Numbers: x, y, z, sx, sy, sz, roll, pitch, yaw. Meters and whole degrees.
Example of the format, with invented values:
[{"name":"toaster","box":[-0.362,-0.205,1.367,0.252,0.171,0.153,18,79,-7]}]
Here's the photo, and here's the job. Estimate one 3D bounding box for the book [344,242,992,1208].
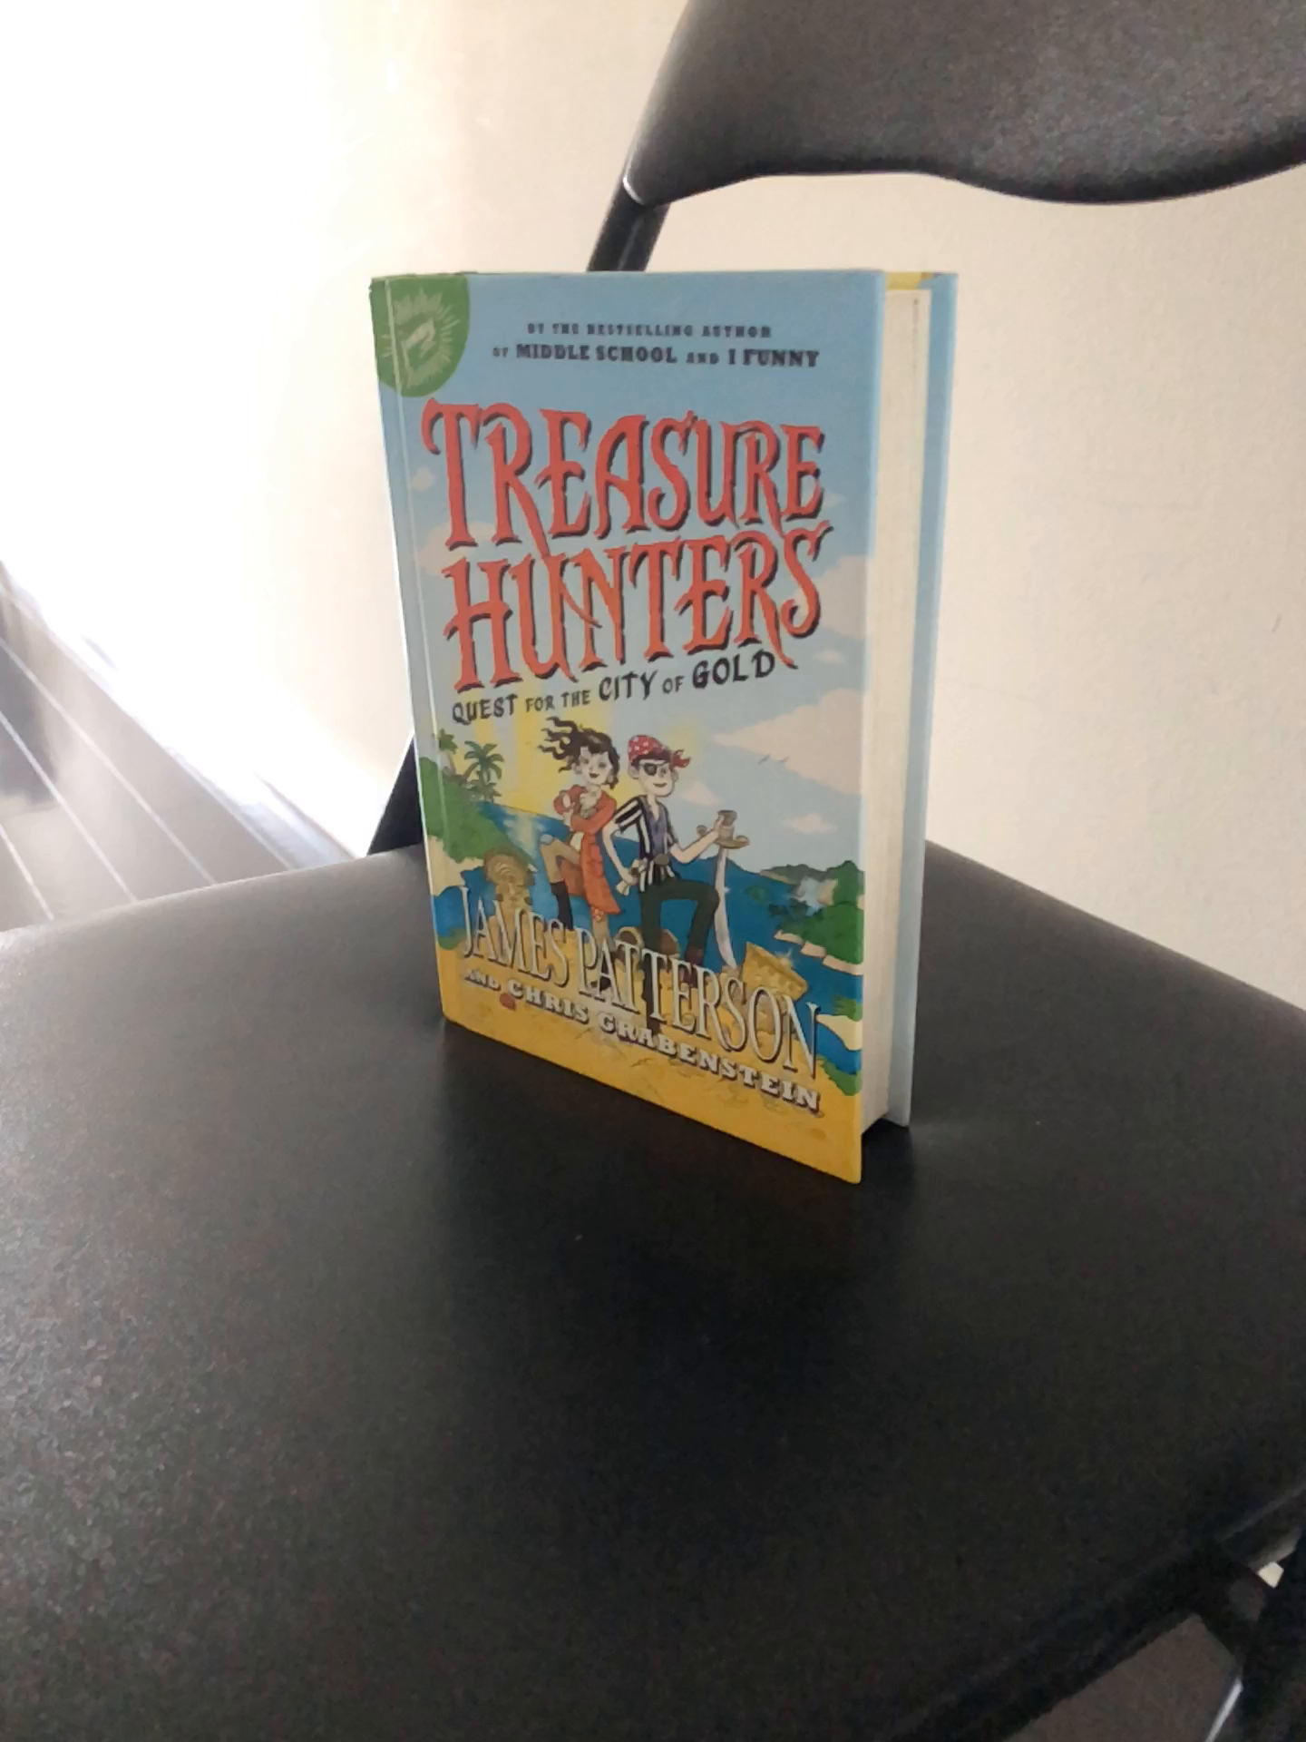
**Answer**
[{"name":"book","box":[0.005,-0.039,0.369,0.155,0.215,0.040,15,32,37]}]
